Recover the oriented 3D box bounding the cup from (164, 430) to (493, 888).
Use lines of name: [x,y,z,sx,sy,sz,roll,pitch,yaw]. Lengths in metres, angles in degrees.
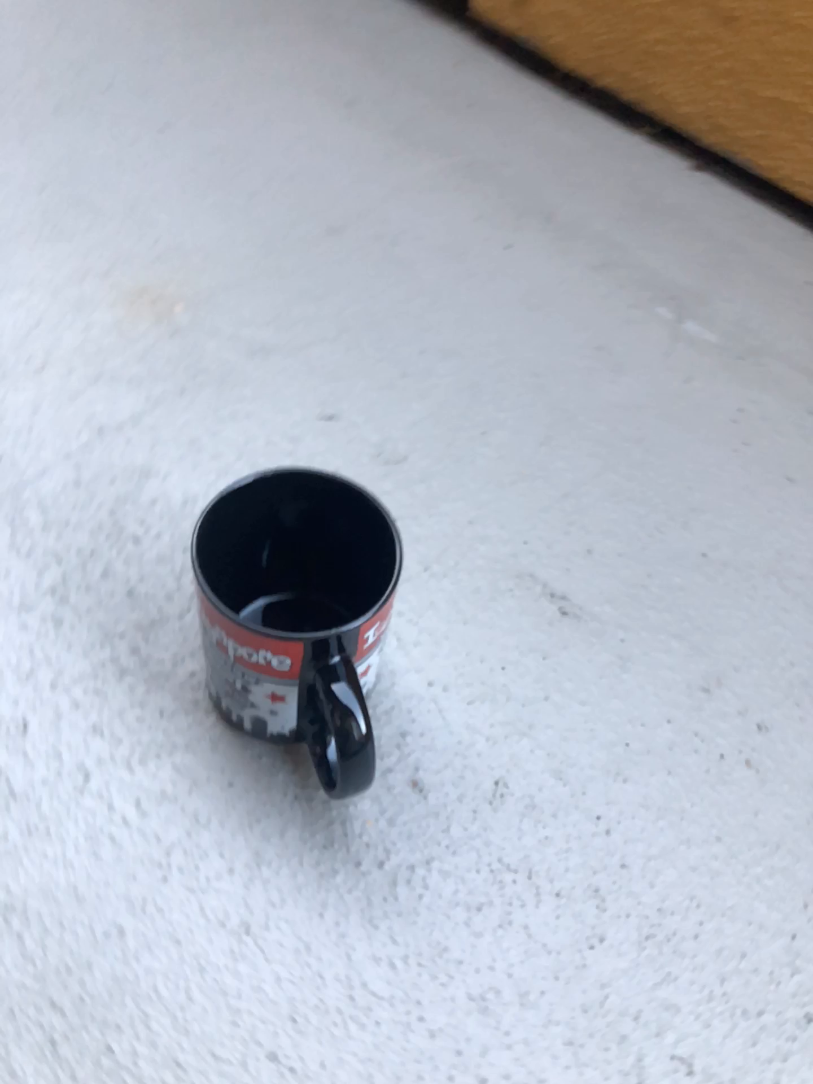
cup: [-0.038,0.047,0.364,0.080,0.110,0.130,-13,57,-17]
